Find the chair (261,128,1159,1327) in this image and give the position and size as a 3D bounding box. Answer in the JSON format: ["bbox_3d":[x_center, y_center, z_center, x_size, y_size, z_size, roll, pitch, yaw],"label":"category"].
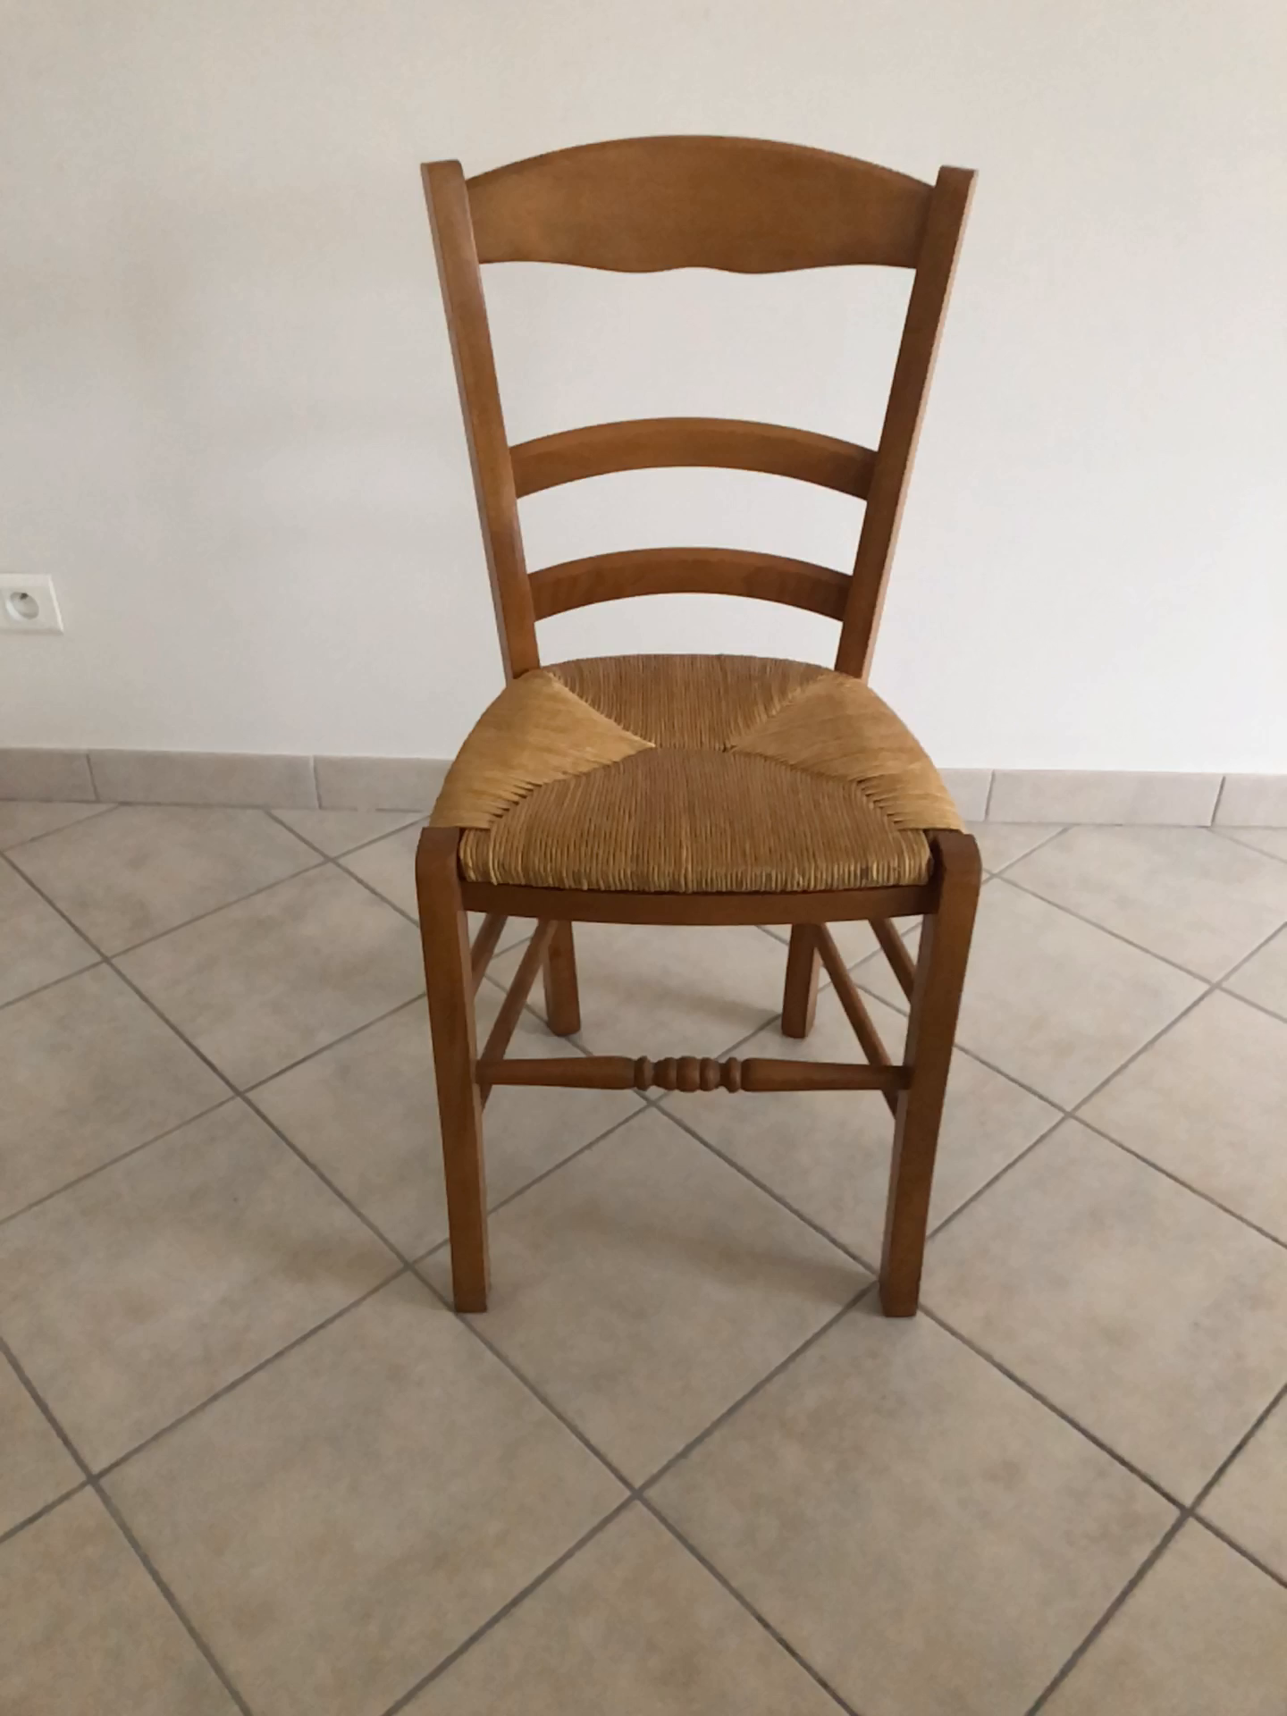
[{"bbox_3d":[0.035,-0.097,1.142,0.450,0.825,0.503,0,34,0],"label":"chair"}]
